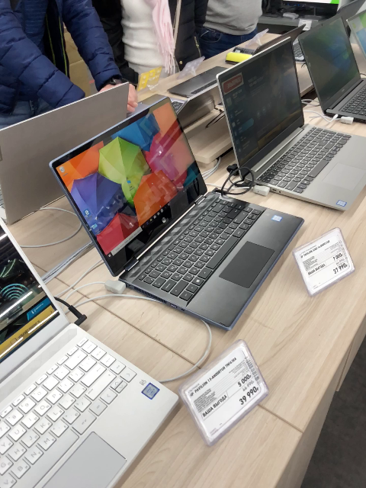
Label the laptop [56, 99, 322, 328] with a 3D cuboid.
[{"bbox_3d":[0.022,-0.088,0.746,0.326,0.194,0.327,21,45,25],"label":"laptop"}]

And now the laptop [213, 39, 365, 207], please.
[{"bbox_3d":[0.317,-0.317,0.977,0.330,0.218,0.352,24,46,27],"label":"laptop"}]

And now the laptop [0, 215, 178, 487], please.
[{"bbox_3d":[-0.226,0.155,0.471,0.323,0.171,0.293,23,43,25],"label":"laptop"}]
